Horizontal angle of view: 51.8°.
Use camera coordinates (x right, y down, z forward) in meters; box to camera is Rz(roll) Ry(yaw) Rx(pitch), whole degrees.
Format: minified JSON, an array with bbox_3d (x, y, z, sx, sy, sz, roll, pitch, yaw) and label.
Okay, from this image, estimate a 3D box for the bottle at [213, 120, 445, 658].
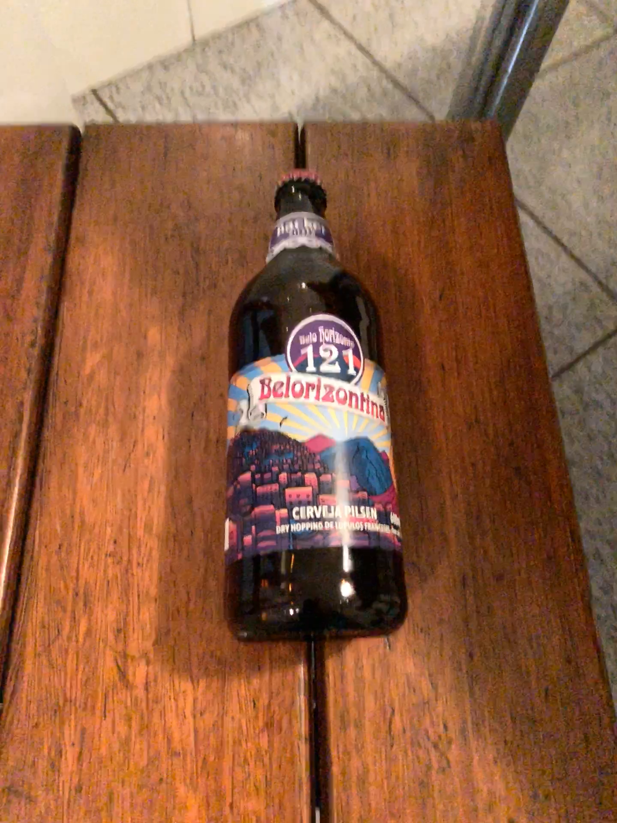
[{"bbox_3d":[-0.002,-0.019,0.290,0.080,0.050,0.240,1,67,-11],"label":"bottle"}]
